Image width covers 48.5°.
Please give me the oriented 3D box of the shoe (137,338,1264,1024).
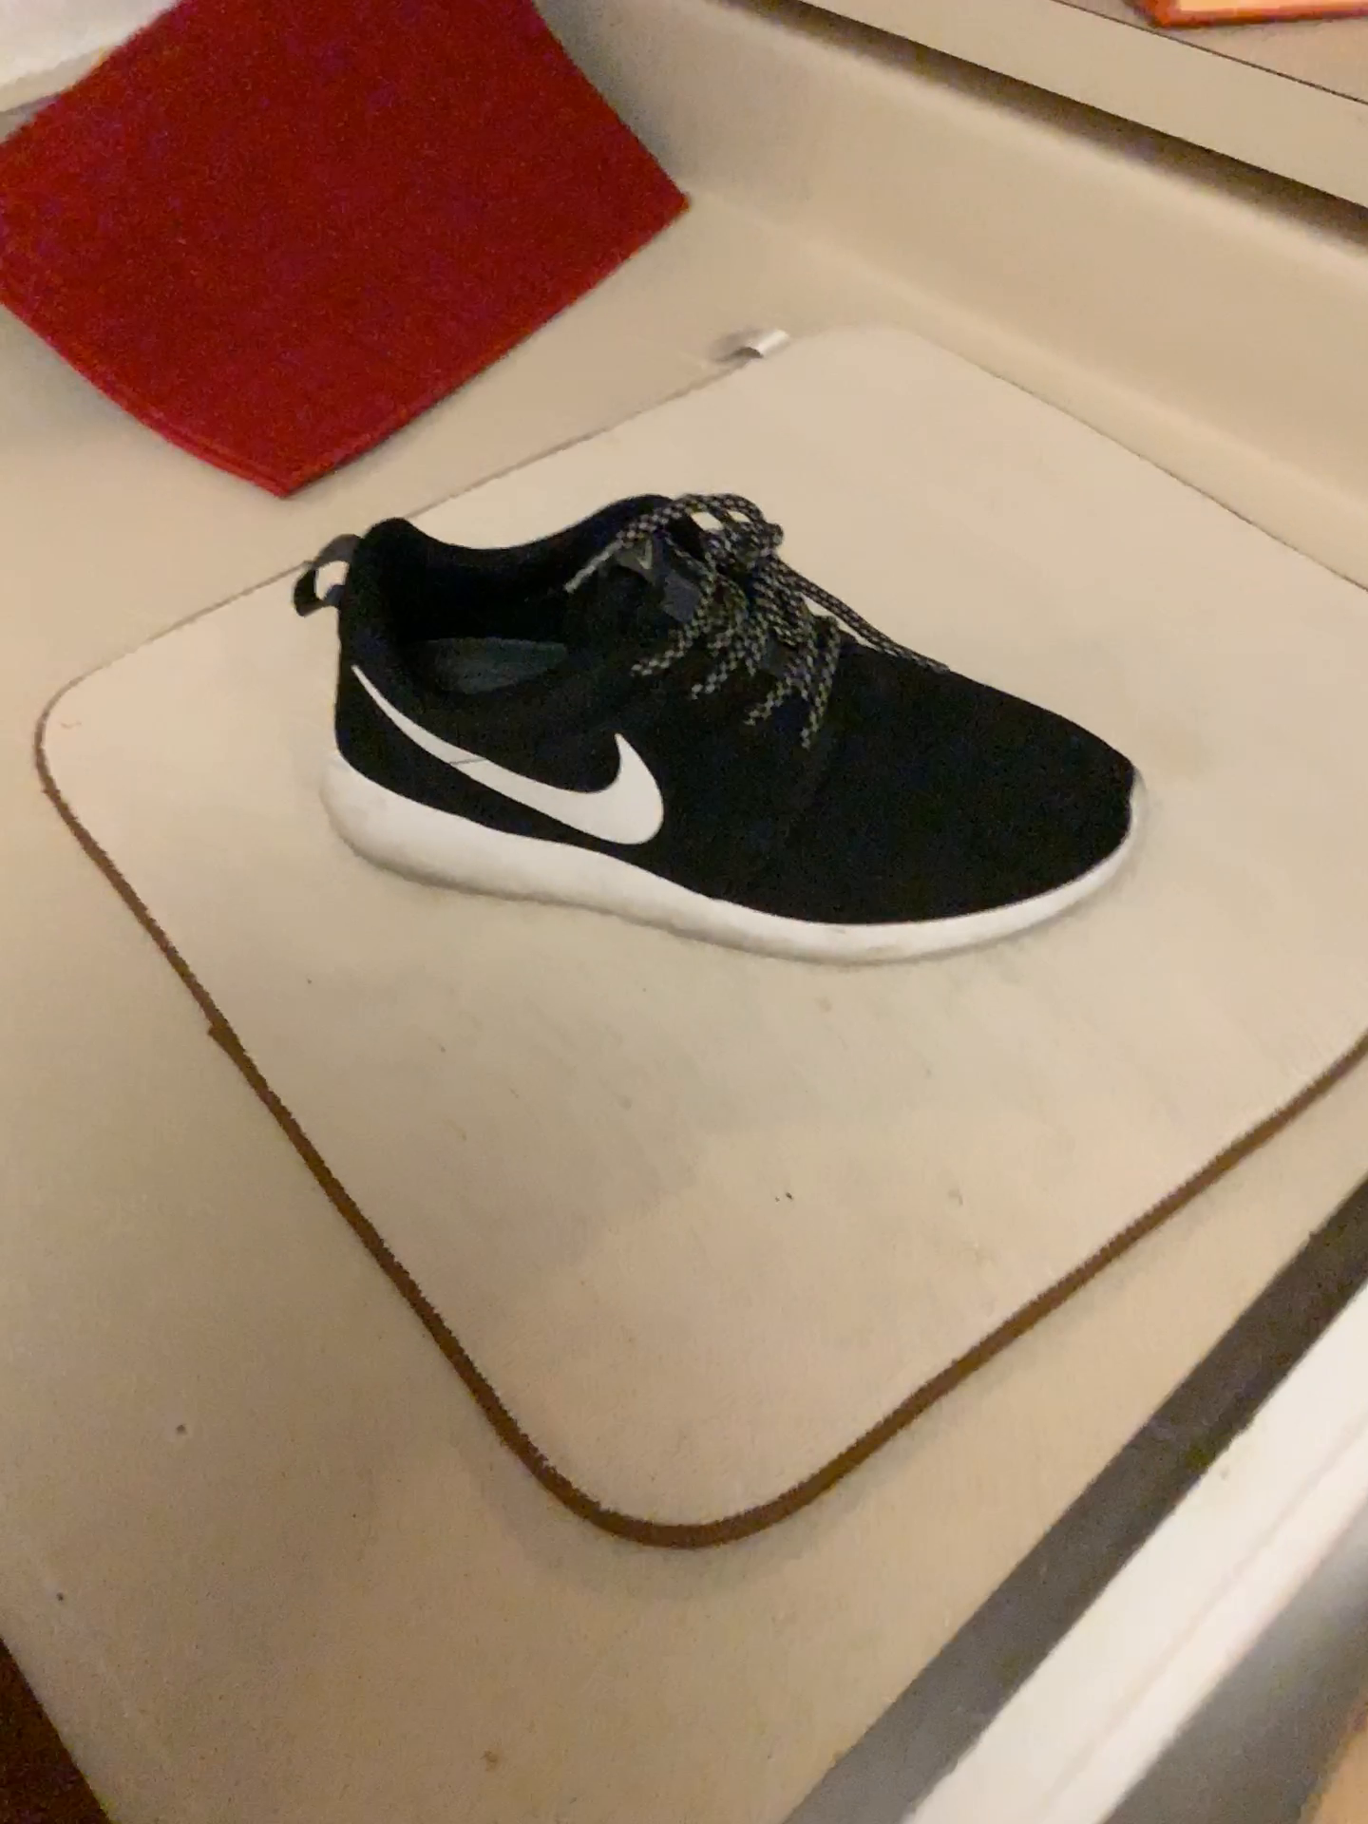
[{"bbox_3d":[0.011,-0.073,0.457,0.280,0.120,0.130,7,52,9],"label":"shoe"}]
